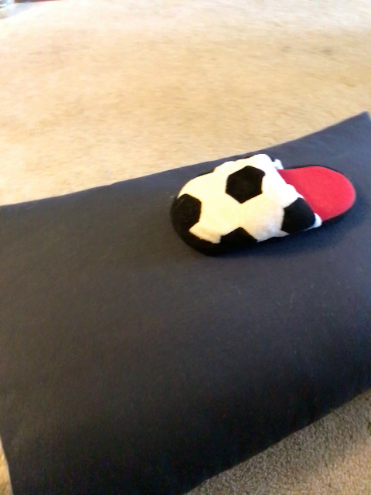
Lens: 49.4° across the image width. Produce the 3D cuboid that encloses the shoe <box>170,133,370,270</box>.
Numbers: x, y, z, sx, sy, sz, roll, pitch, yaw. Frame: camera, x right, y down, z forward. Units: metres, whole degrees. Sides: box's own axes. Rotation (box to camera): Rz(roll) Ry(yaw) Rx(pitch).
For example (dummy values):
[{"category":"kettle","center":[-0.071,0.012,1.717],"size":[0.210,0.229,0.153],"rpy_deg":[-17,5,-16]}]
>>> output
[{"category":"shoe","center":[0.098,-0.058,0.483],"size":[0.213,0.072,0.108],"rpy_deg":[-11,54,-10]}]
